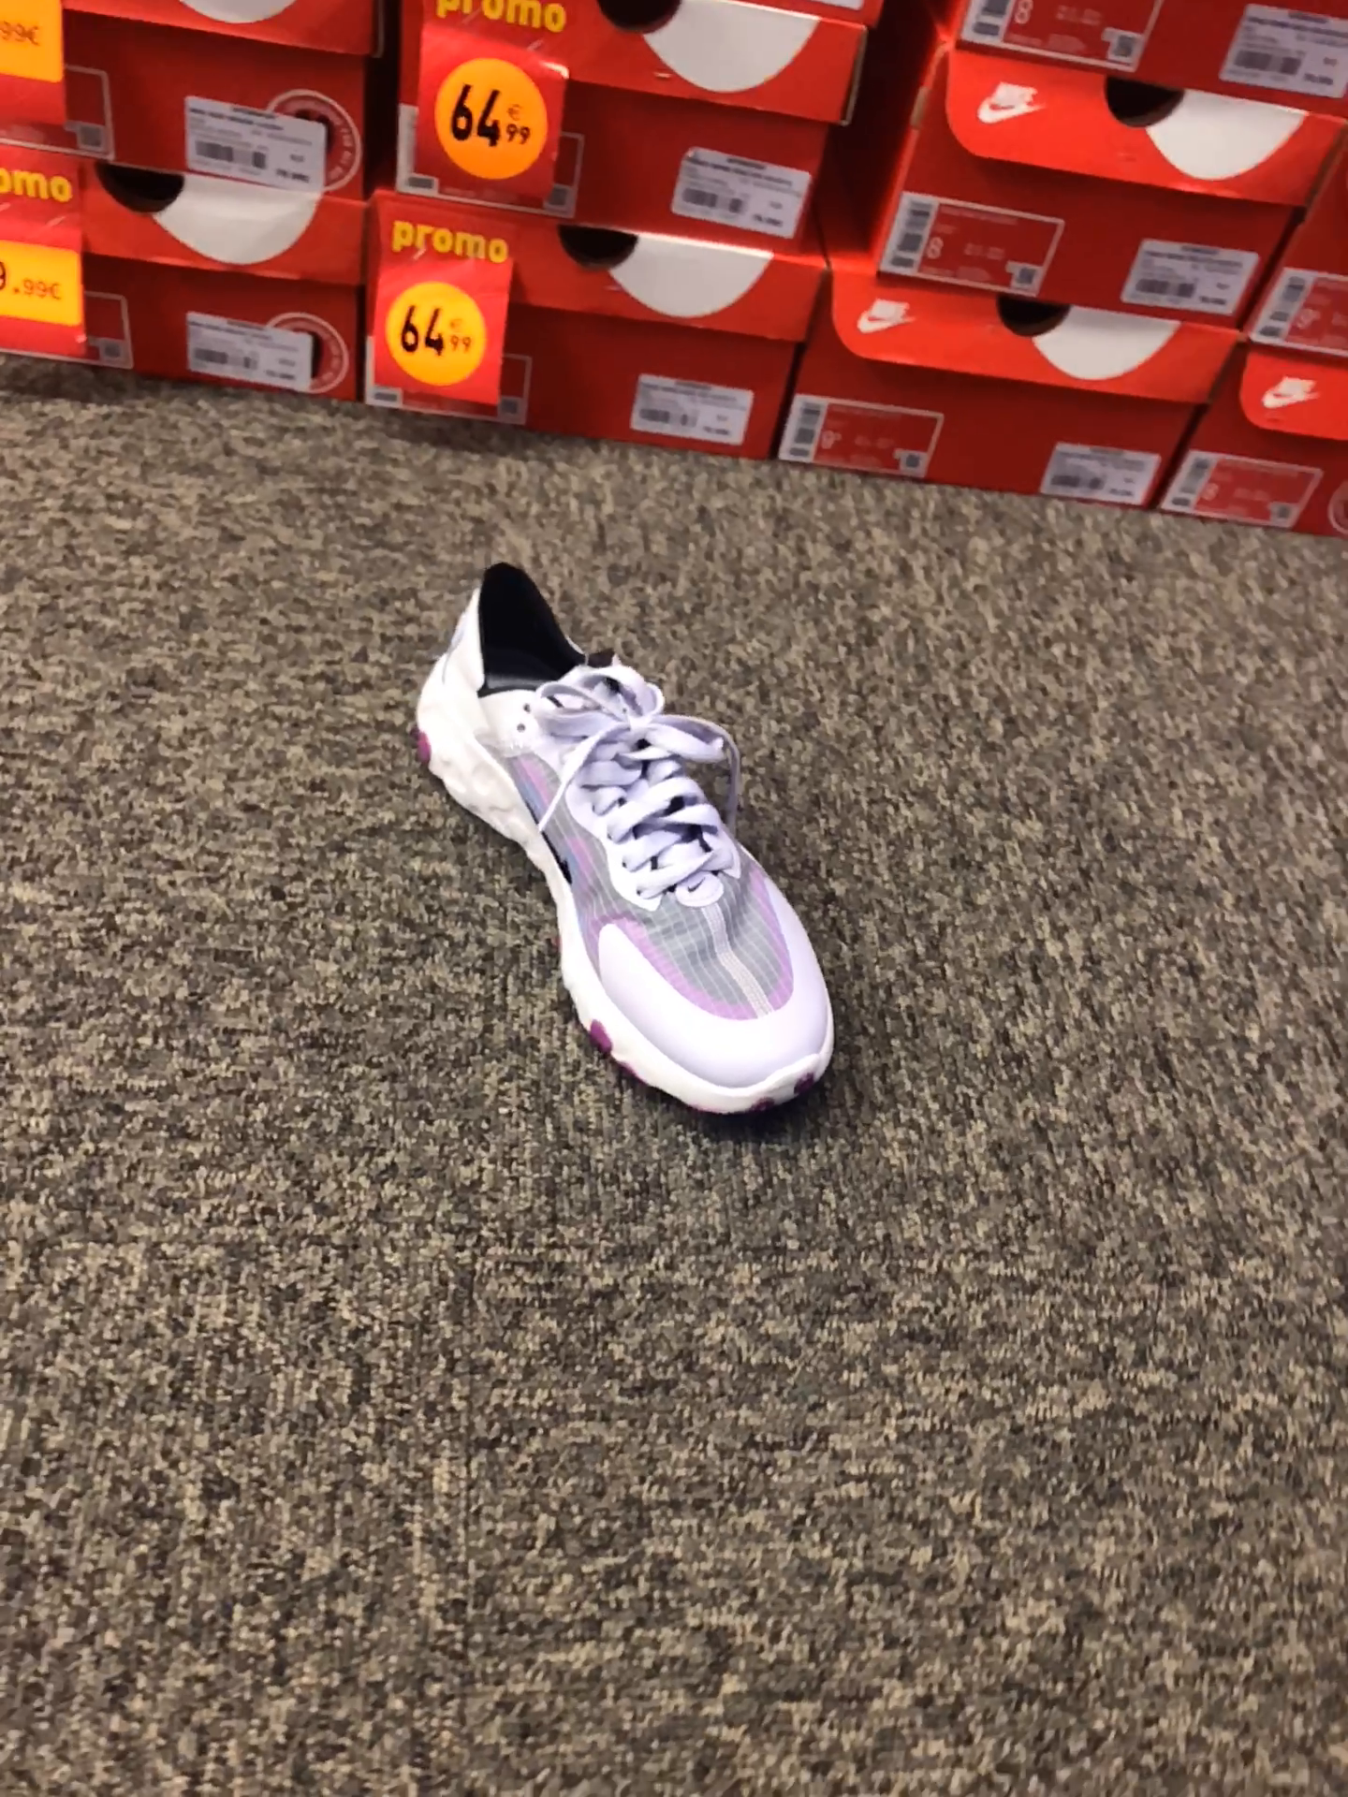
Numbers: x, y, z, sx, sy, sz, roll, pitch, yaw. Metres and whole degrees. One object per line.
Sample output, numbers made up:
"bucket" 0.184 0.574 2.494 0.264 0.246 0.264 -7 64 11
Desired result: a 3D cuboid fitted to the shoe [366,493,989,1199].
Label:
"shoe" -0.015 -0.032 0.572 0.100 0.099 0.260 -20 56 -28
